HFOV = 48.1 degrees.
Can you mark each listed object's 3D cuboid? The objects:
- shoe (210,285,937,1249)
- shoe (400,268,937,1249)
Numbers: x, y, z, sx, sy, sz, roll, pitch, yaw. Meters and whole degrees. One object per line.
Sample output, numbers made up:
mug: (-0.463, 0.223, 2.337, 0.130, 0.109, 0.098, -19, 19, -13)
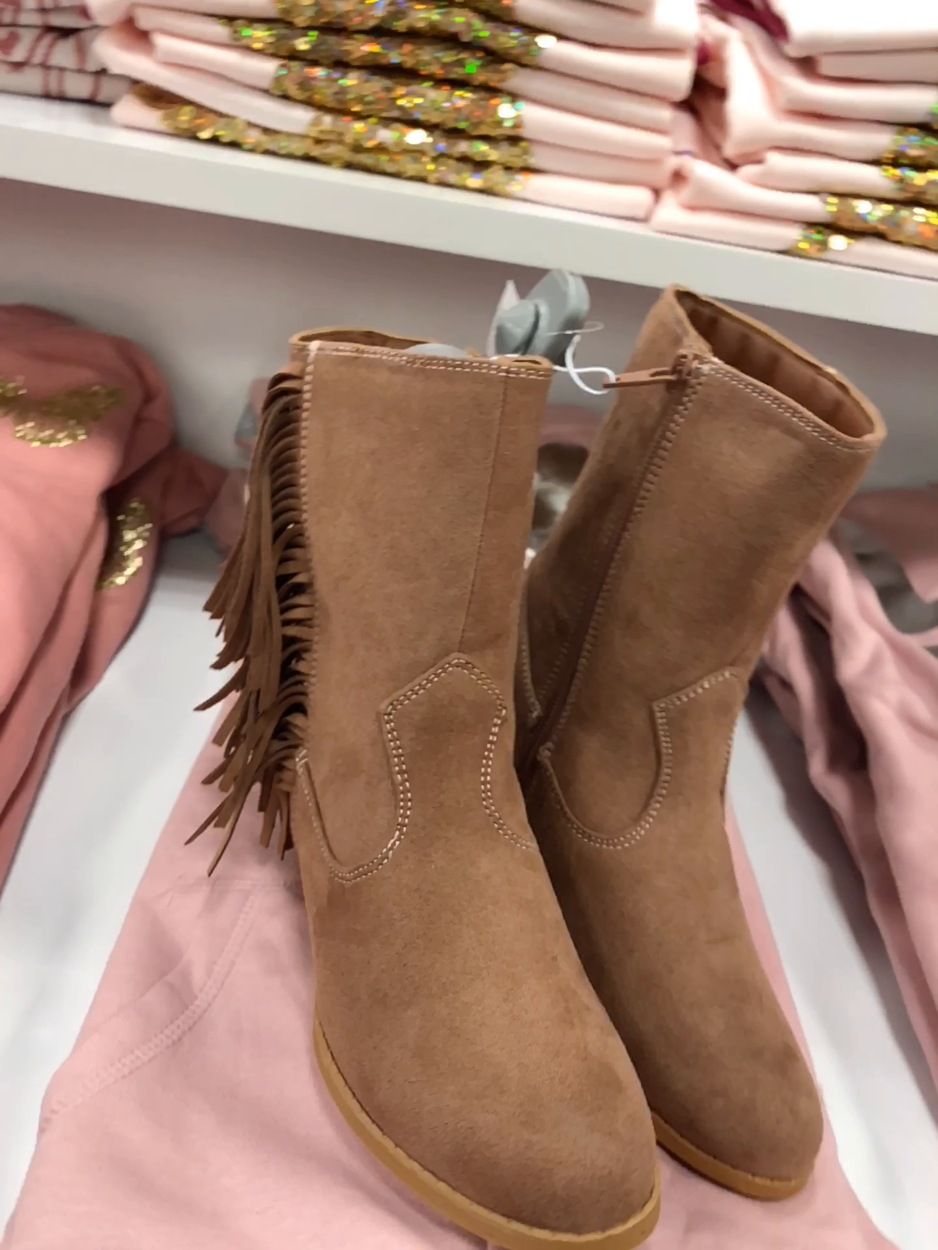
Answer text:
shoe: (-0.004, 0.033, 0.286, 0.092, 0.199, 0.201, -5, 30, -24)
shoe: (0.069, 0.026, 0.323, 0.092, 0.199, 0.211, -5, 36, -23)
